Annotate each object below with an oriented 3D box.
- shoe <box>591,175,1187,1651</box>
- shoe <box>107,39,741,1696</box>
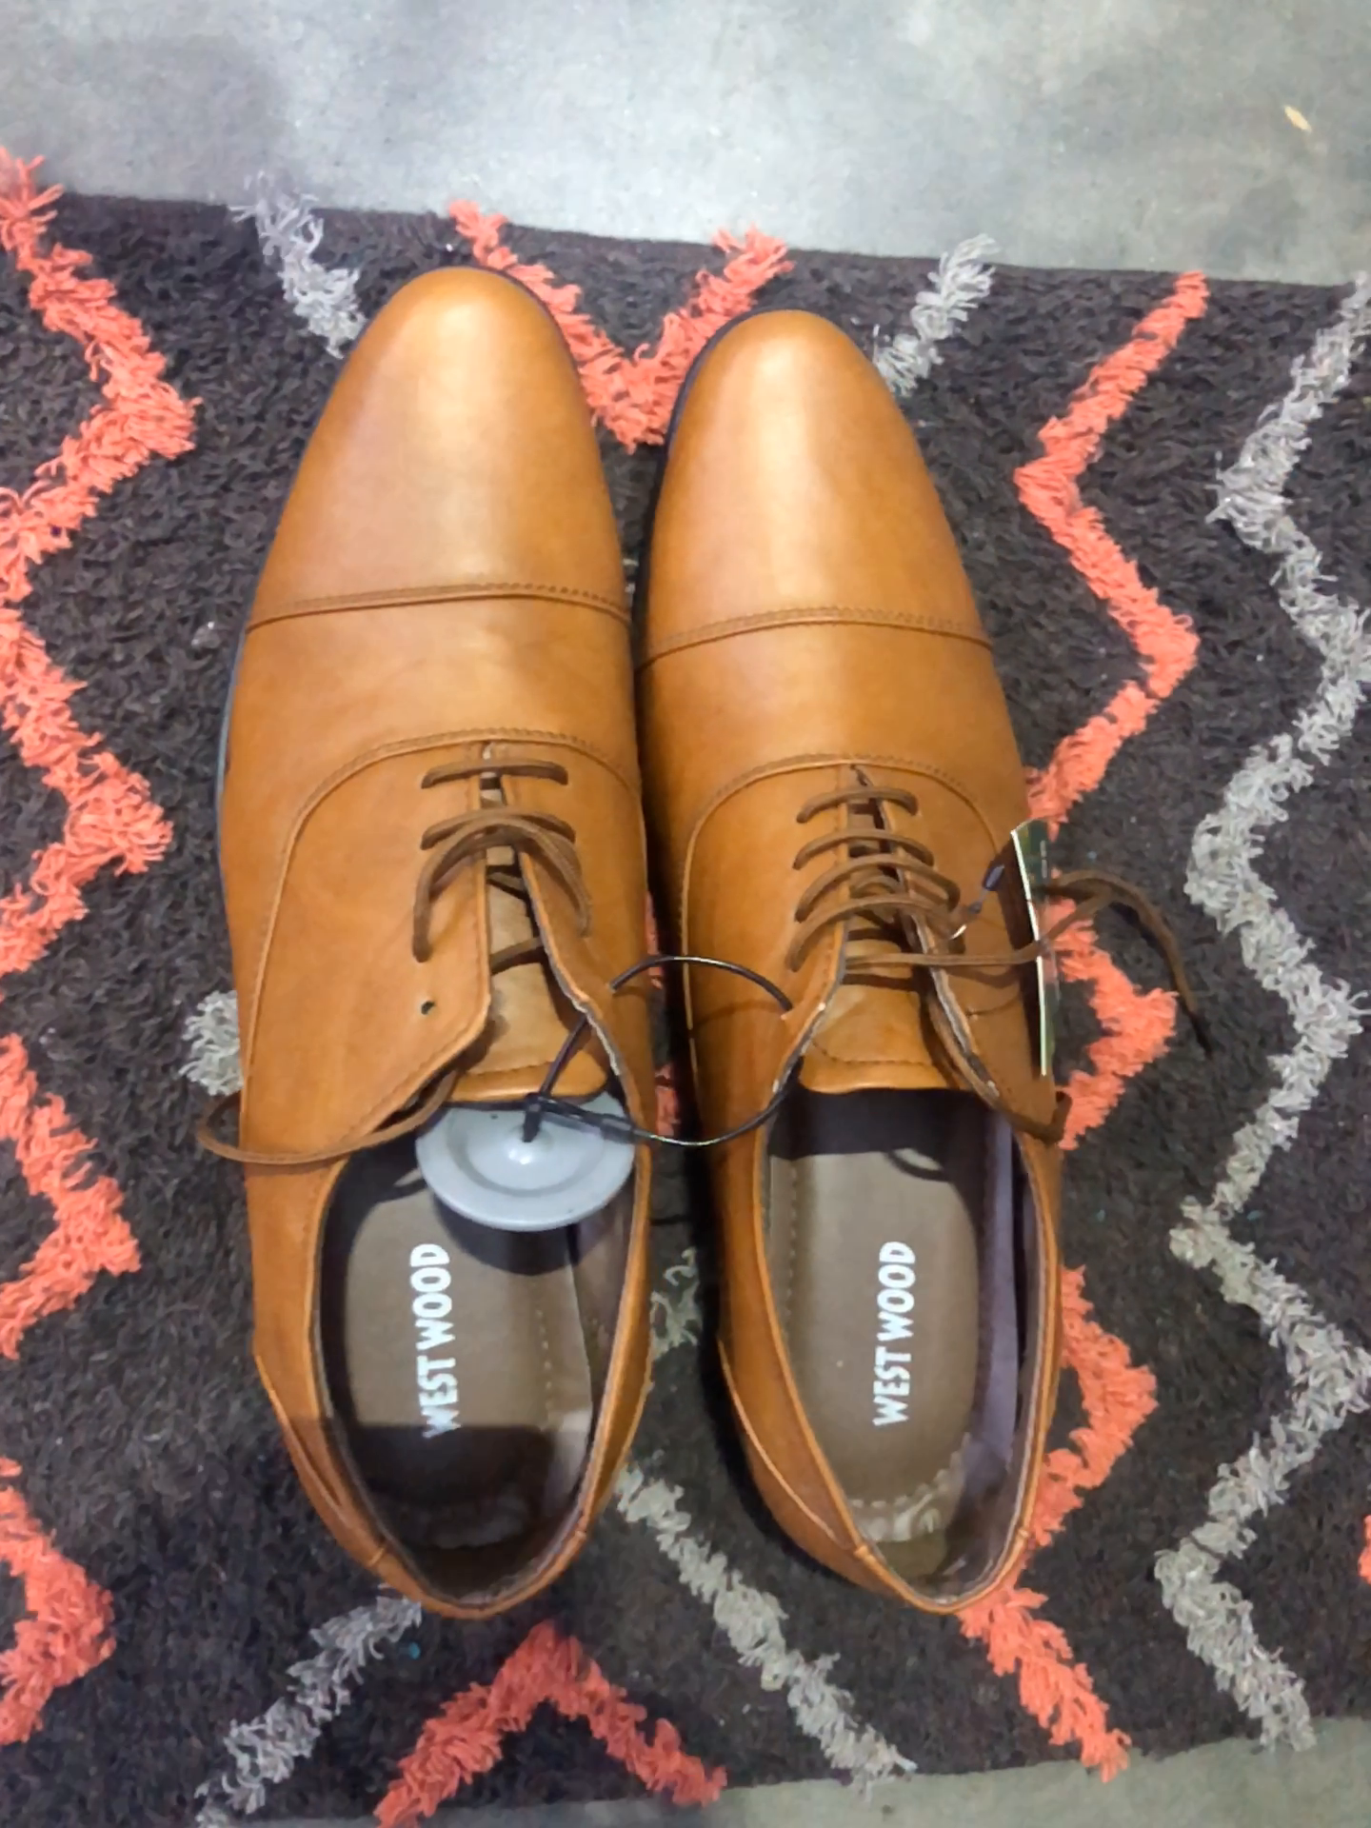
[{"bbox_3d":[0.042,-0.002,0.358,0.110,0.080,0.300,-2,90,-10],"label":"shoe"},{"bbox_3d":[-0.054,-0.010,0.329,0.110,0.070,0.310,-2,90,-10],"label":"shoe"}]
